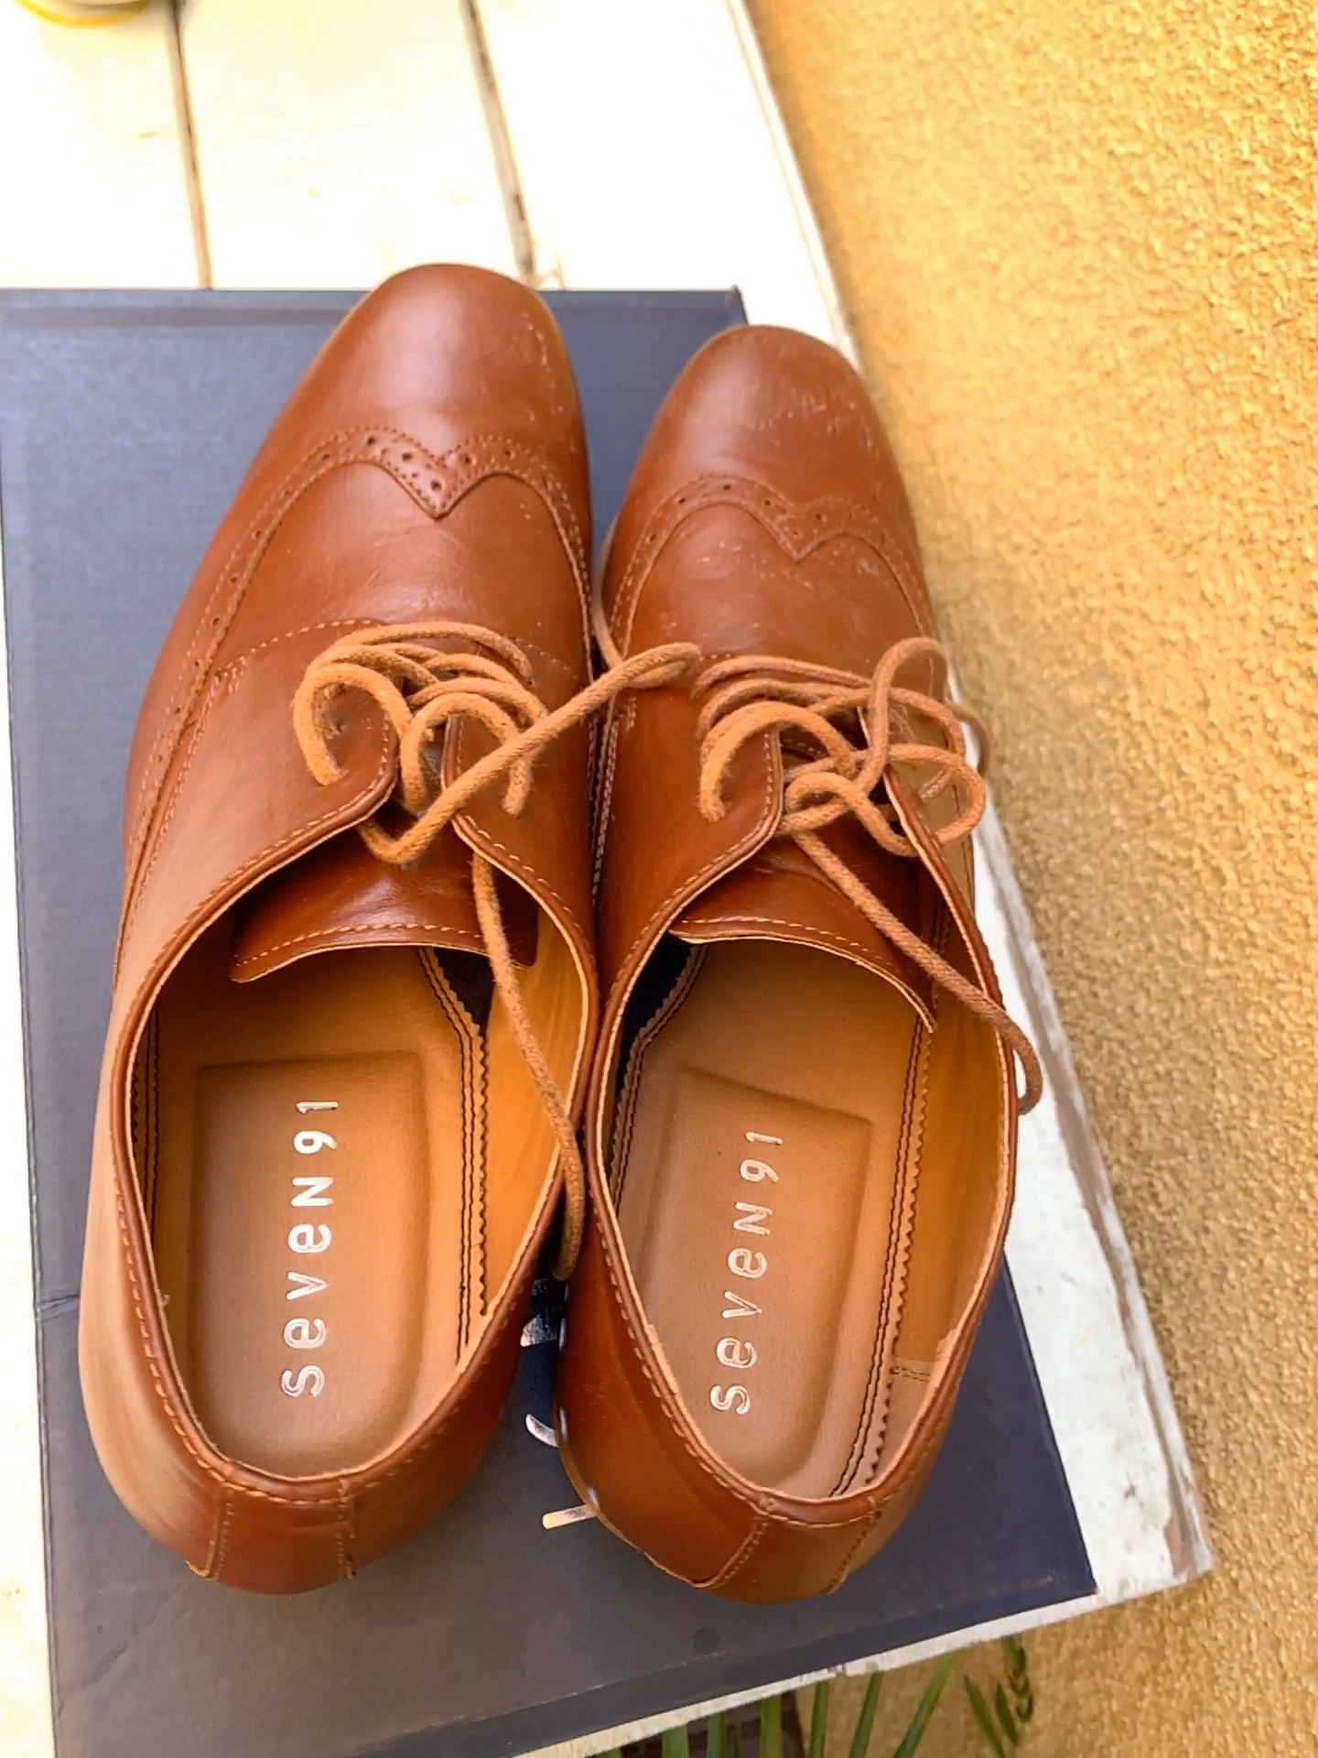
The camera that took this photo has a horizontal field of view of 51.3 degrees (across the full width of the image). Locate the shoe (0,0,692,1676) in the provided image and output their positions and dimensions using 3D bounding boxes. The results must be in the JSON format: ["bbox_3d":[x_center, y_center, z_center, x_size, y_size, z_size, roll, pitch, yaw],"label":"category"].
[{"bbox_3d":[-0.063,-0.020,0.279,0.104,0.099,0.302,8,67,-10],"label":"shoe"}]

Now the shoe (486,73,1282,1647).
[{"bbox_3d":[0.038,-0.013,0.299,0.110,0.099,0.302,8,67,-10],"label":"shoe"}]
